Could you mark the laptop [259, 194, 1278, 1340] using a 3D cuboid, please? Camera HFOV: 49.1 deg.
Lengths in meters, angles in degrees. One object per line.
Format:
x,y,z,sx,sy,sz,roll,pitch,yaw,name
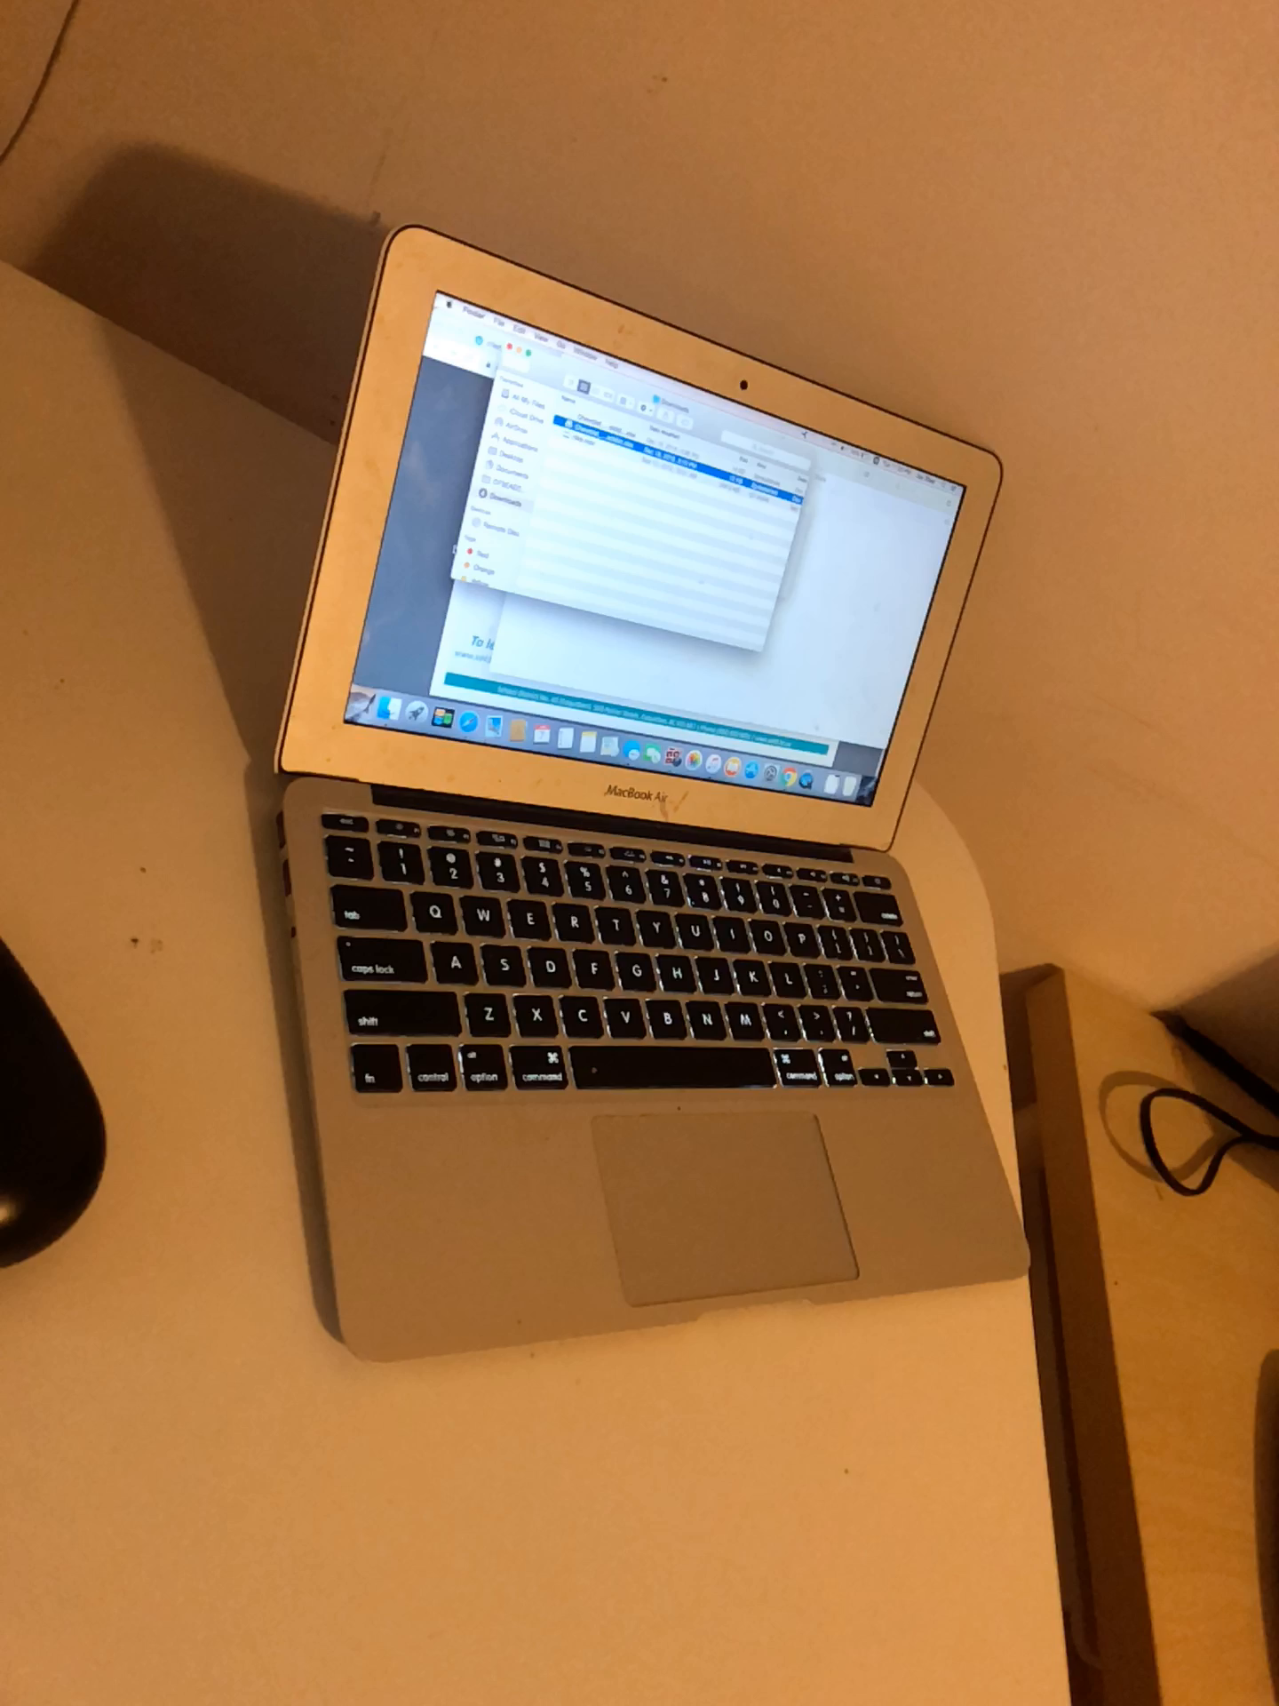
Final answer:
0.041,-0.022,0.488,0.281,0.127,0.306,6,59,-35,laptop
